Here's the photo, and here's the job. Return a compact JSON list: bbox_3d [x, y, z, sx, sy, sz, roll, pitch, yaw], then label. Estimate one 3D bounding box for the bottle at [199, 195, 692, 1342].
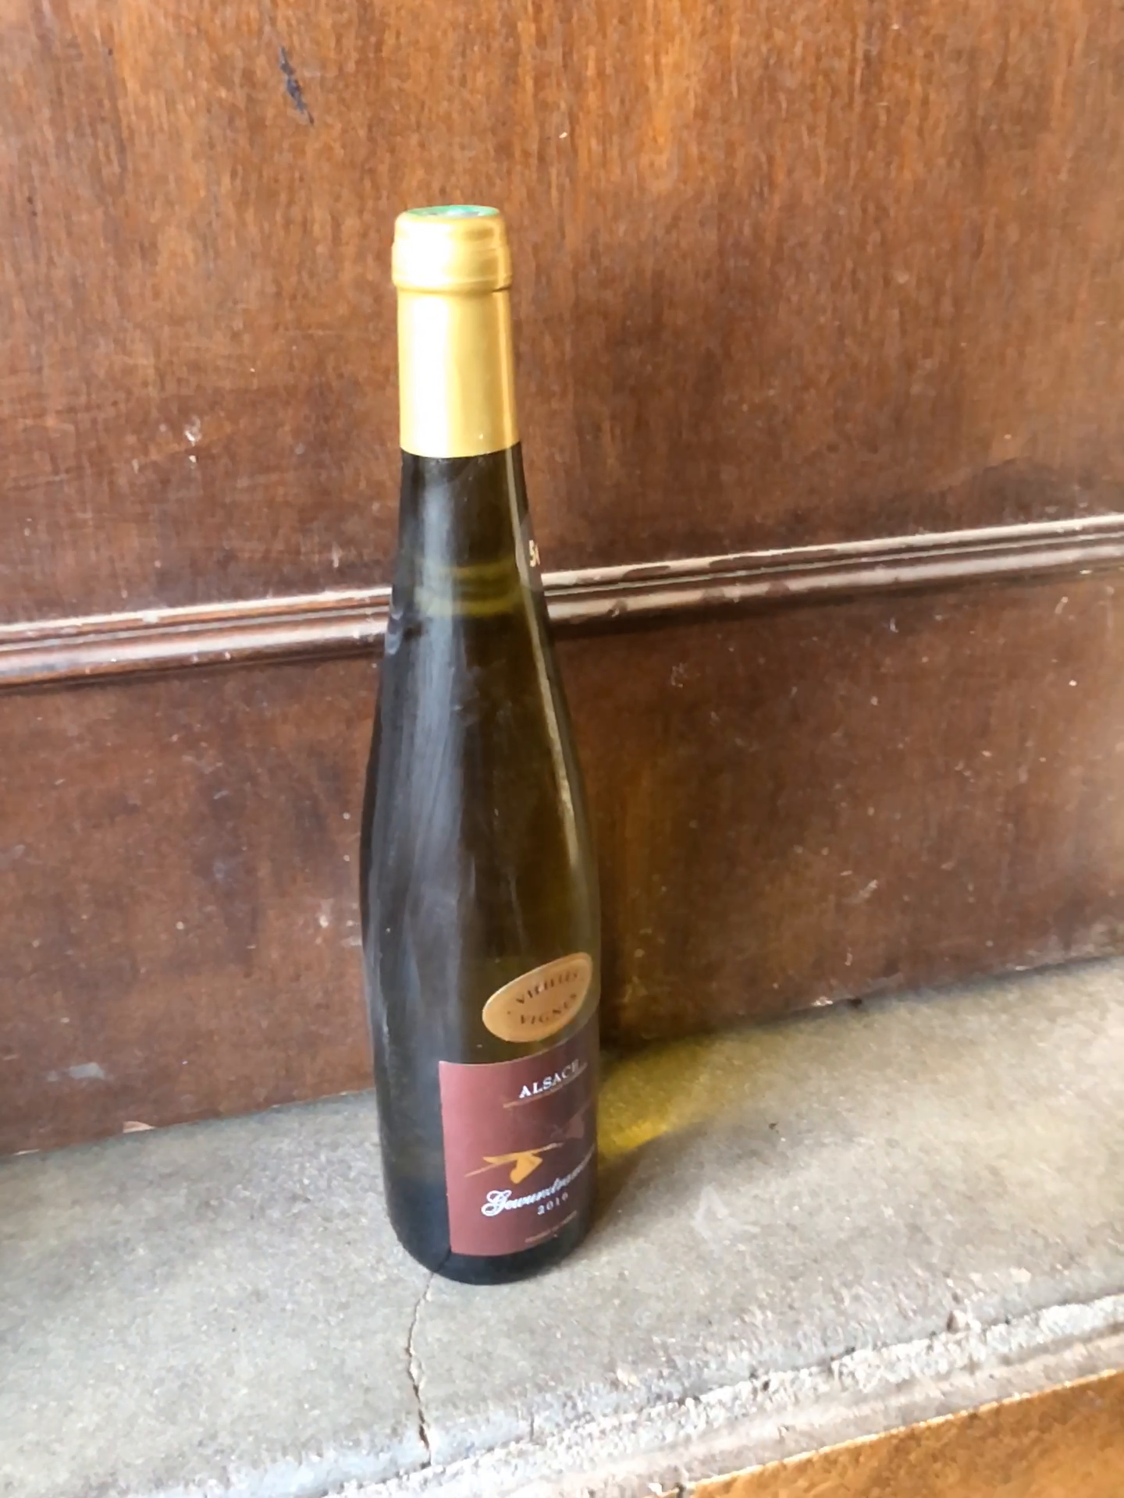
[{"bbox_3d":[-0.025,0.014,0.354,0.080,0.308,0.080,-1,27,0],"label":"bottle"}]
